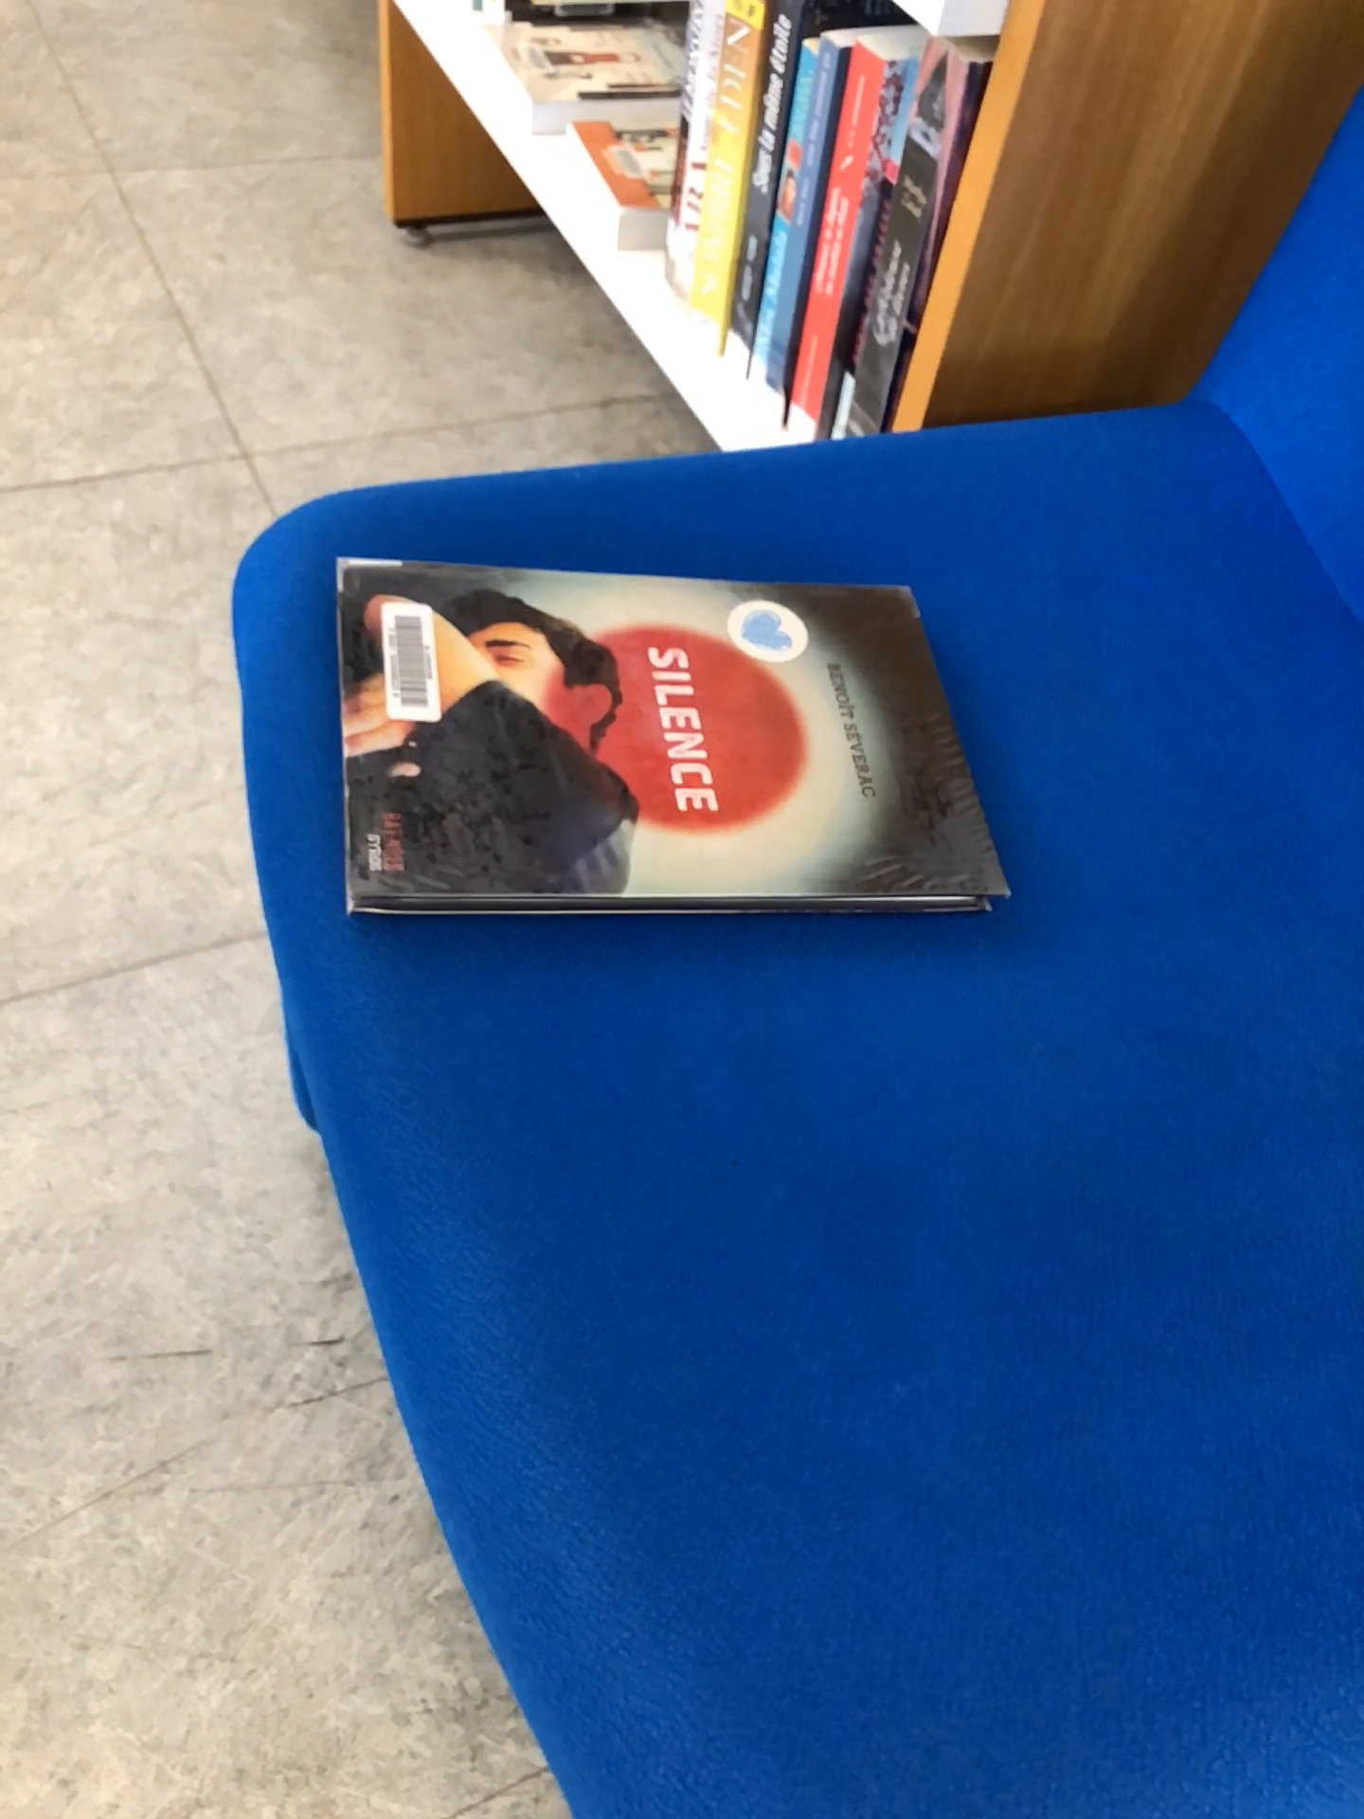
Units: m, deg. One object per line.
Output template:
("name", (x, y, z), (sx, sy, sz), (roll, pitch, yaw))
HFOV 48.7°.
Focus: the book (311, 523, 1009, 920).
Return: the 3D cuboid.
("book", (-0.012, -0.063, 0.498), (0.211, 0.023, 0.147), (0, 54, -13))
